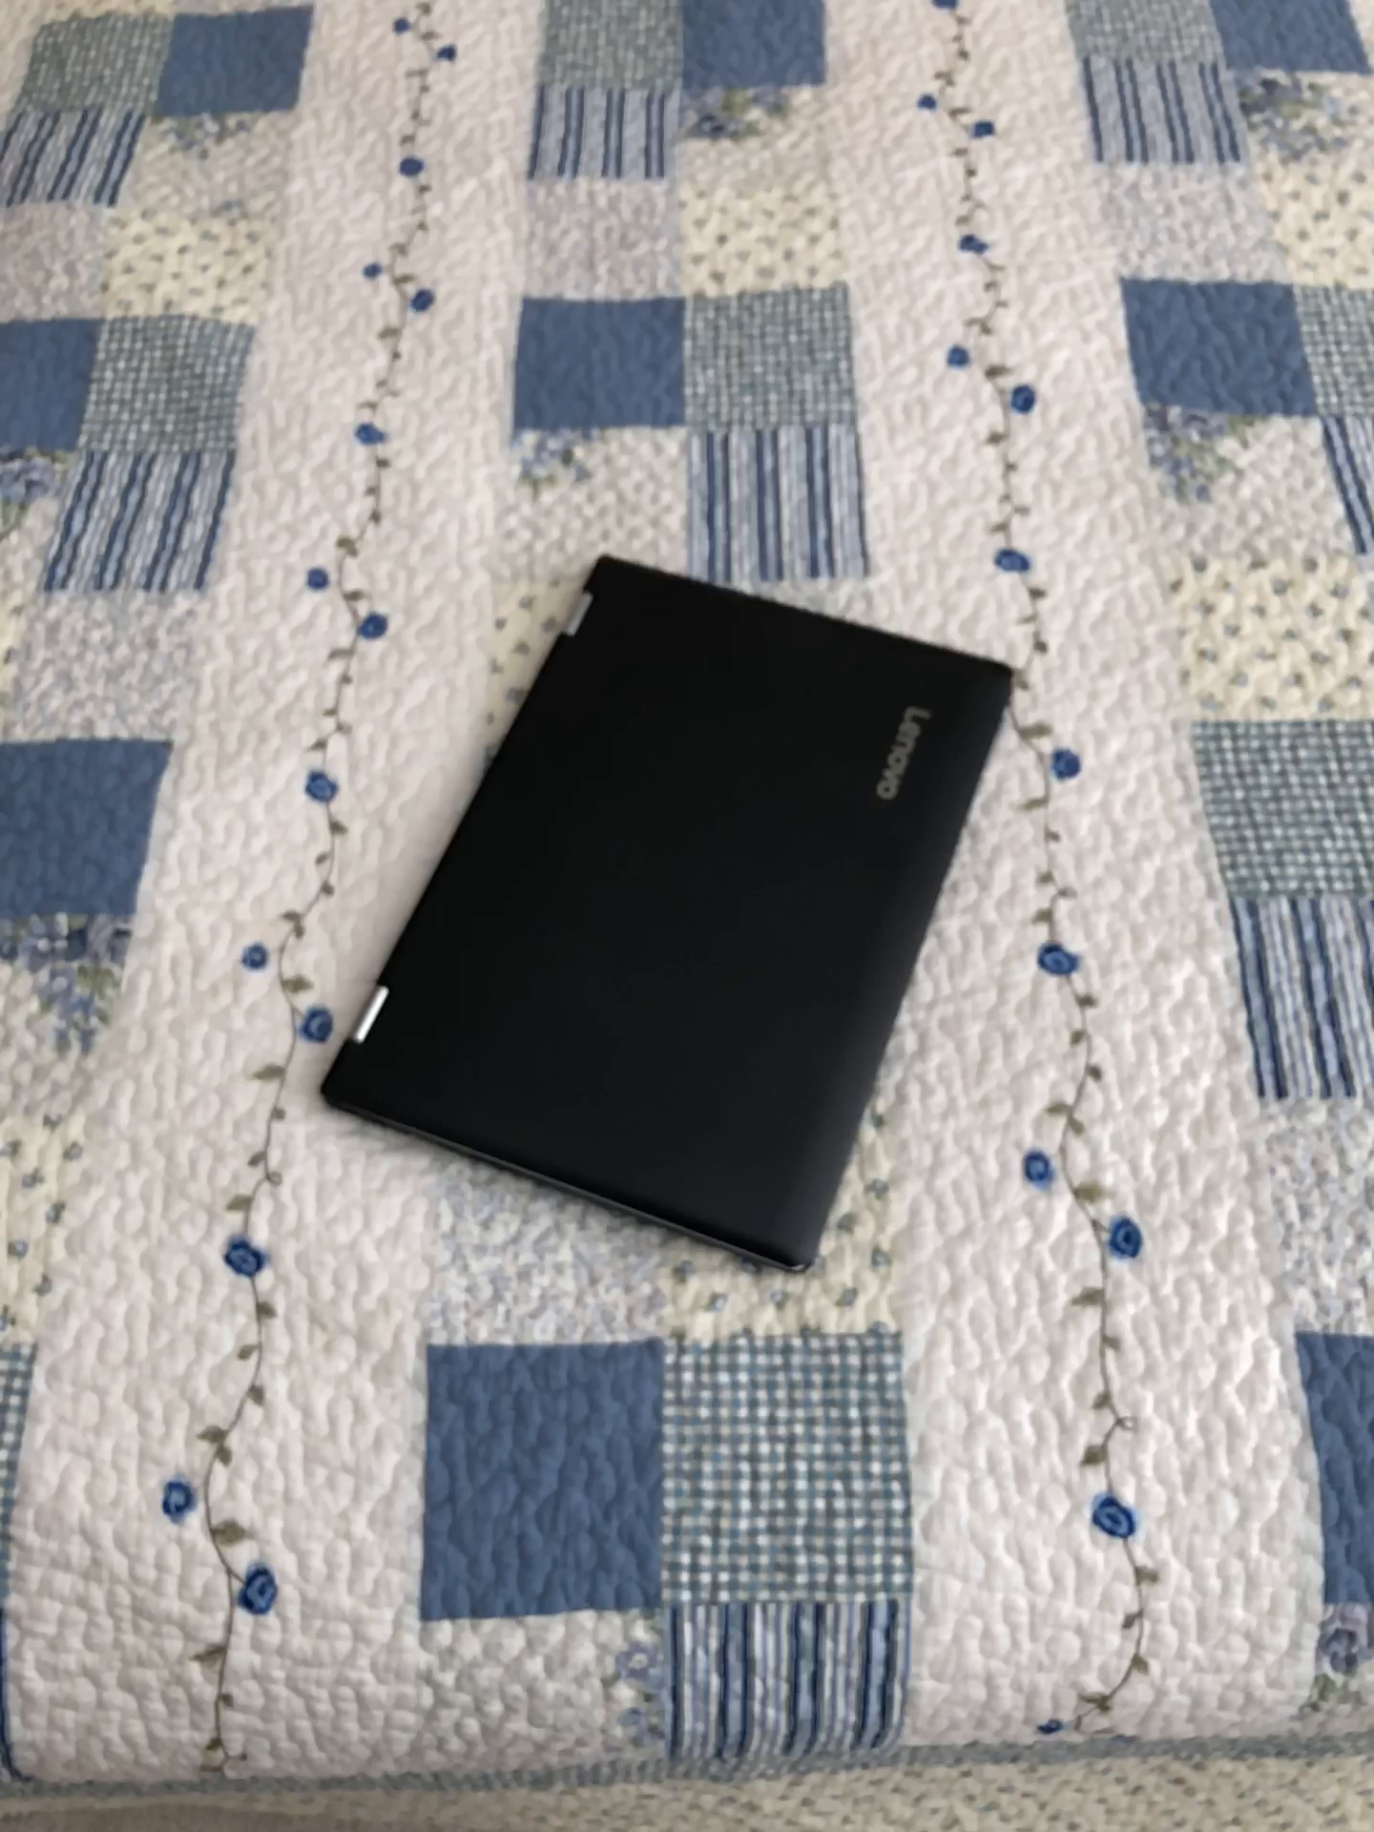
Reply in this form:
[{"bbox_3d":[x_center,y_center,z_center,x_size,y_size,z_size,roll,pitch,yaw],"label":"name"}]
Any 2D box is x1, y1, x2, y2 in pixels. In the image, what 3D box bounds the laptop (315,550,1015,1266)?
[{"bbox_3d":[0.001,-0.025,0.711,0.224,0.008,0.321,17,63,13],"label":"laptop"}]
